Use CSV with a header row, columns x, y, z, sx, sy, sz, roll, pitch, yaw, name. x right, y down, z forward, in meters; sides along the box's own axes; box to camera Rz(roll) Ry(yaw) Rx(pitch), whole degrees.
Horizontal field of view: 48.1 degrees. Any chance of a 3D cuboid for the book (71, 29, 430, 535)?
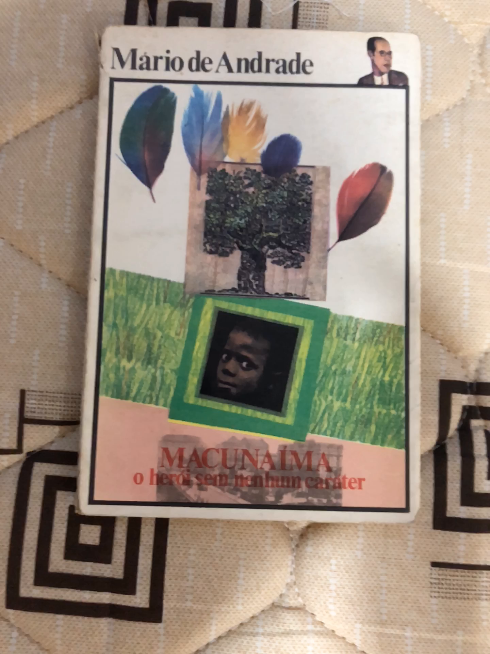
x,y,z,sx,sy,sz,roll,pitch,yaw,name
0.005,-0.020,0.219,0.130,0.020,0.190,2,85,-1,book
